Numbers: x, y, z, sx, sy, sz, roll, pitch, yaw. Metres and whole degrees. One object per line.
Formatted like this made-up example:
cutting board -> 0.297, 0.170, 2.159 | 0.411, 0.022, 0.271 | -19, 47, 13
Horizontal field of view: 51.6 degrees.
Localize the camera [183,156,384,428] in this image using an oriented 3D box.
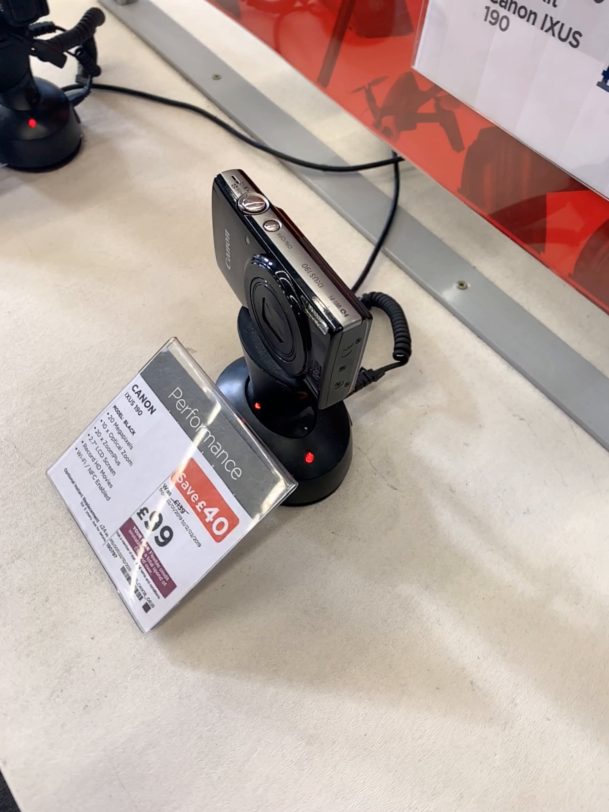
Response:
camera -> -0.012, -0.048, 0.257 | 0.030, 0.050, 0.100 | -25, 62, -19
